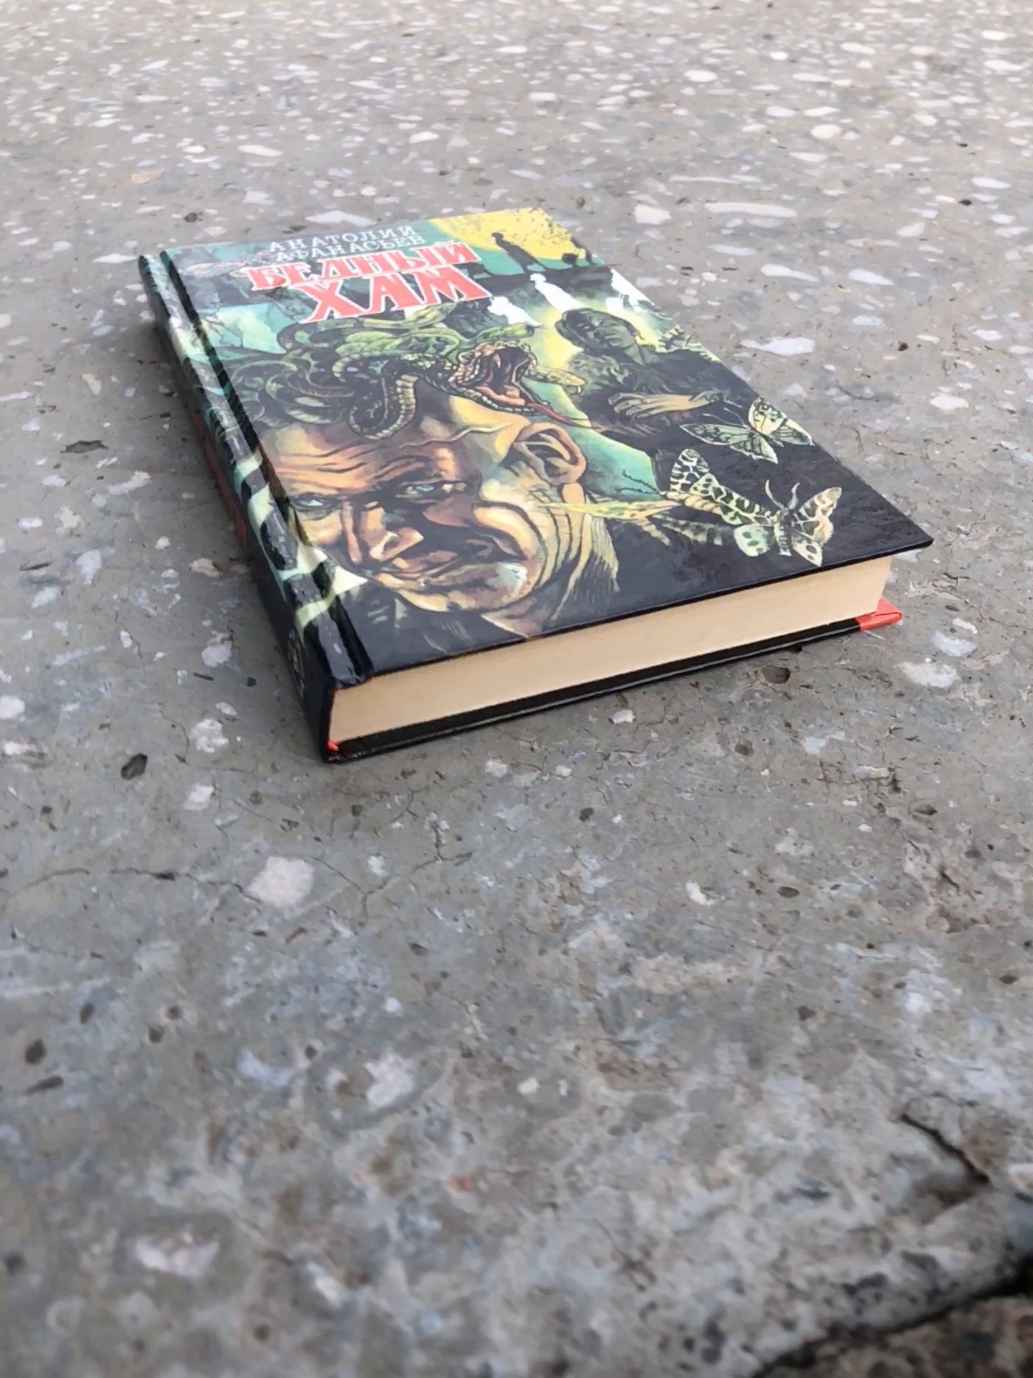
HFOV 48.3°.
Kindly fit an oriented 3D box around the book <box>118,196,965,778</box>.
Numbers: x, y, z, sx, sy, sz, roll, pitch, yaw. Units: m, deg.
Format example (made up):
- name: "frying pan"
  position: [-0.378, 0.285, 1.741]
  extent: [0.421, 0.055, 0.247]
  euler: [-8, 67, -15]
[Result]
- name: "book"
  position: [-0.011, -0.072, 0.292]
  extent: [0.142, 0.020, 0.202]
  euler: [-14, 45, -18]
